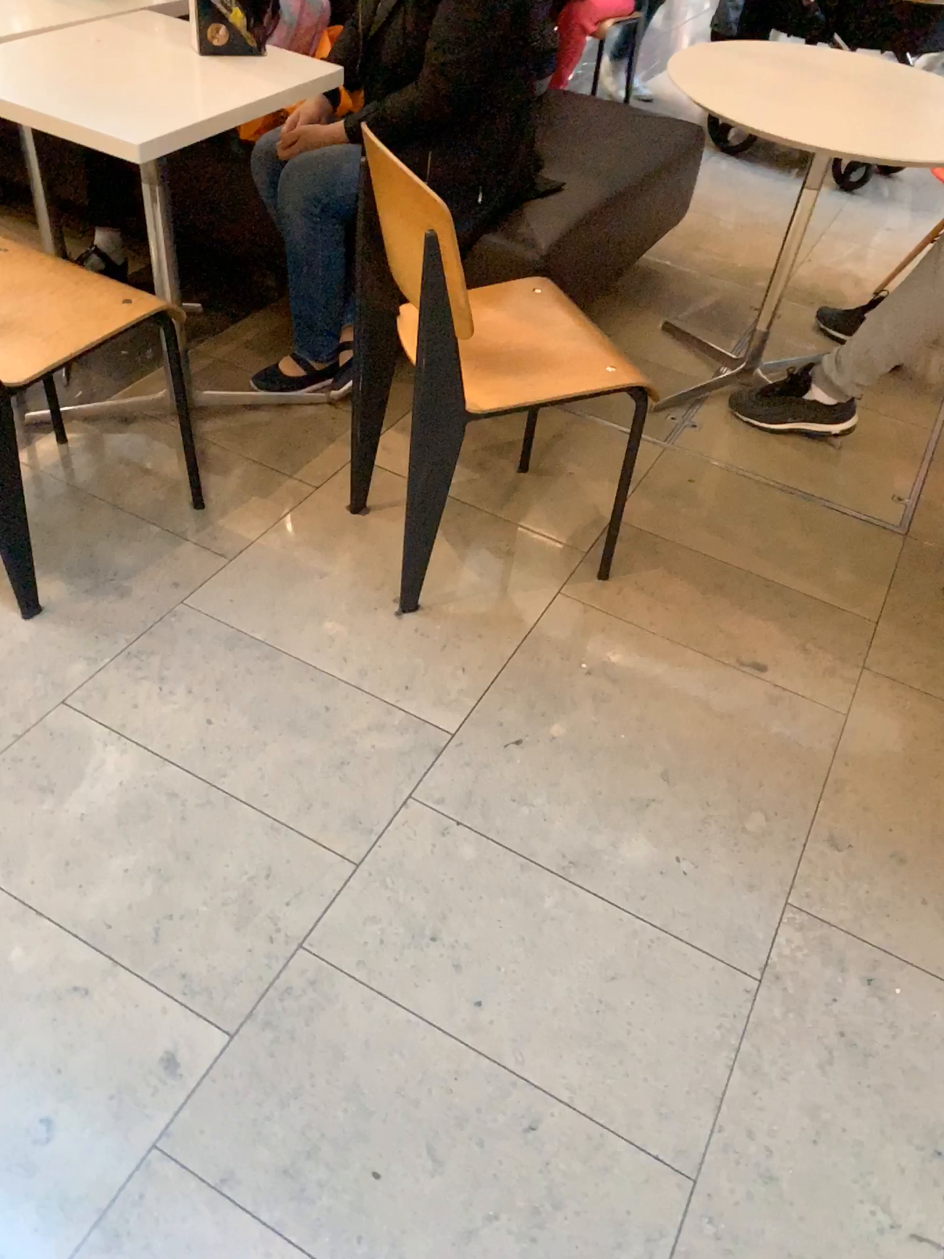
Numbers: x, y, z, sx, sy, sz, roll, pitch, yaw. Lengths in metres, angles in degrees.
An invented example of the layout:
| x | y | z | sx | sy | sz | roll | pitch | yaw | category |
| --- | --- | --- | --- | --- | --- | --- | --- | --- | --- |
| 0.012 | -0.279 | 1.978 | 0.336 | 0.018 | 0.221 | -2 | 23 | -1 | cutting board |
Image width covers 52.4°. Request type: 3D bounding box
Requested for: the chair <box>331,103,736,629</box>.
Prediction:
| x | y | z | sx | sy | sz | roll | pitch | yaw | category |
| --- | --- | --- | --- | --- | --- | --- | --- | --- | --- |
| 0.047 | -0.468 | 1.750 | 0.495 | 0.767 | 0.420 | -13 | 48 | -21 | chair |

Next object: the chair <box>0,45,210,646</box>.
| x | y | z | sx | sy | sz | roll | pitch | yaw | category |
| --- | --- | --- | --- | --- | --- | --- | --- | --- | --- |
| -0.815 | -0.475 | 1.647 | 0.428 | 0.767 | 0.498 | 25 | 46 | 17 | chair |
